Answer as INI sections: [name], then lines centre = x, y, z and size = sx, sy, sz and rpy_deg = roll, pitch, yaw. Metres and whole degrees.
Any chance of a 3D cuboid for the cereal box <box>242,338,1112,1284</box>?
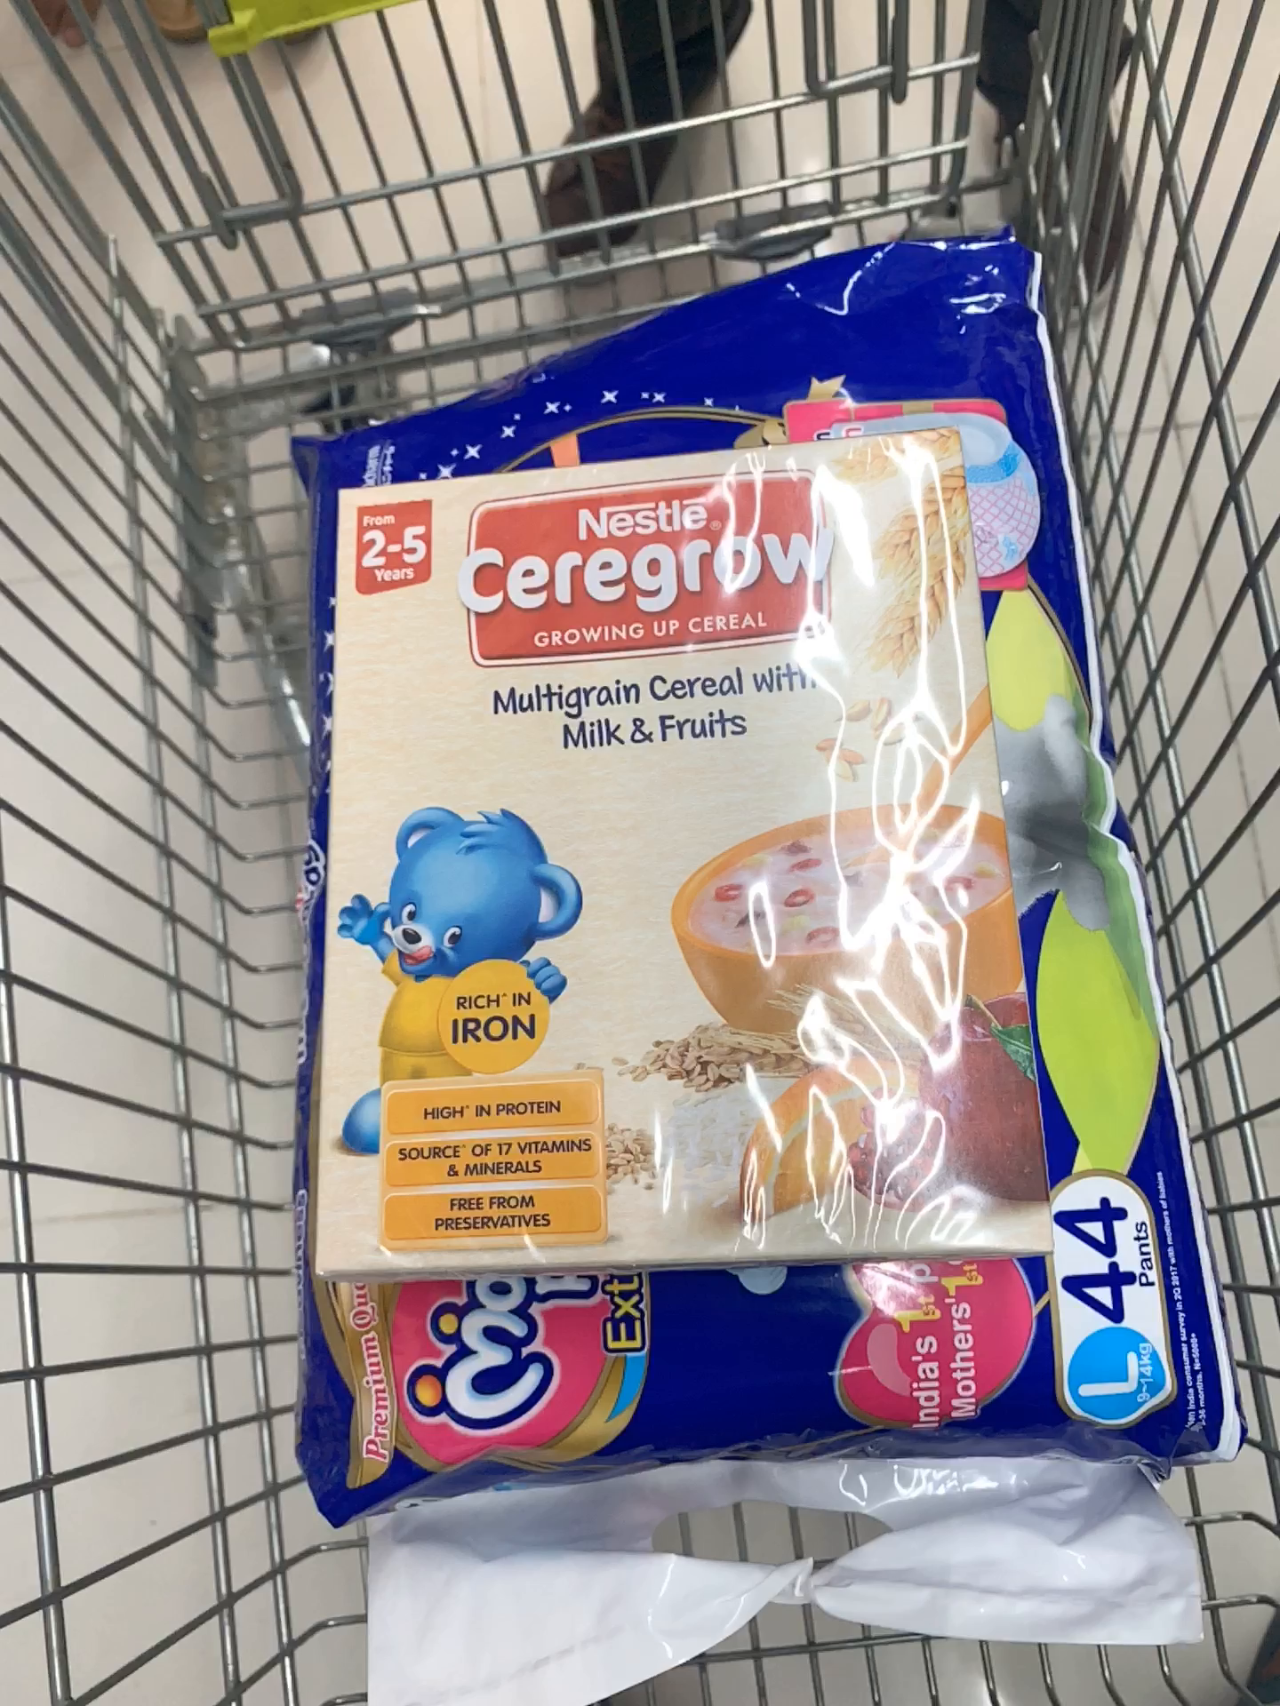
[cereal box]
centre = 0.003, -0.008, 0.292
size = 0.160, 0.050, 0.190
rpy_deg = -4, 73, 7
